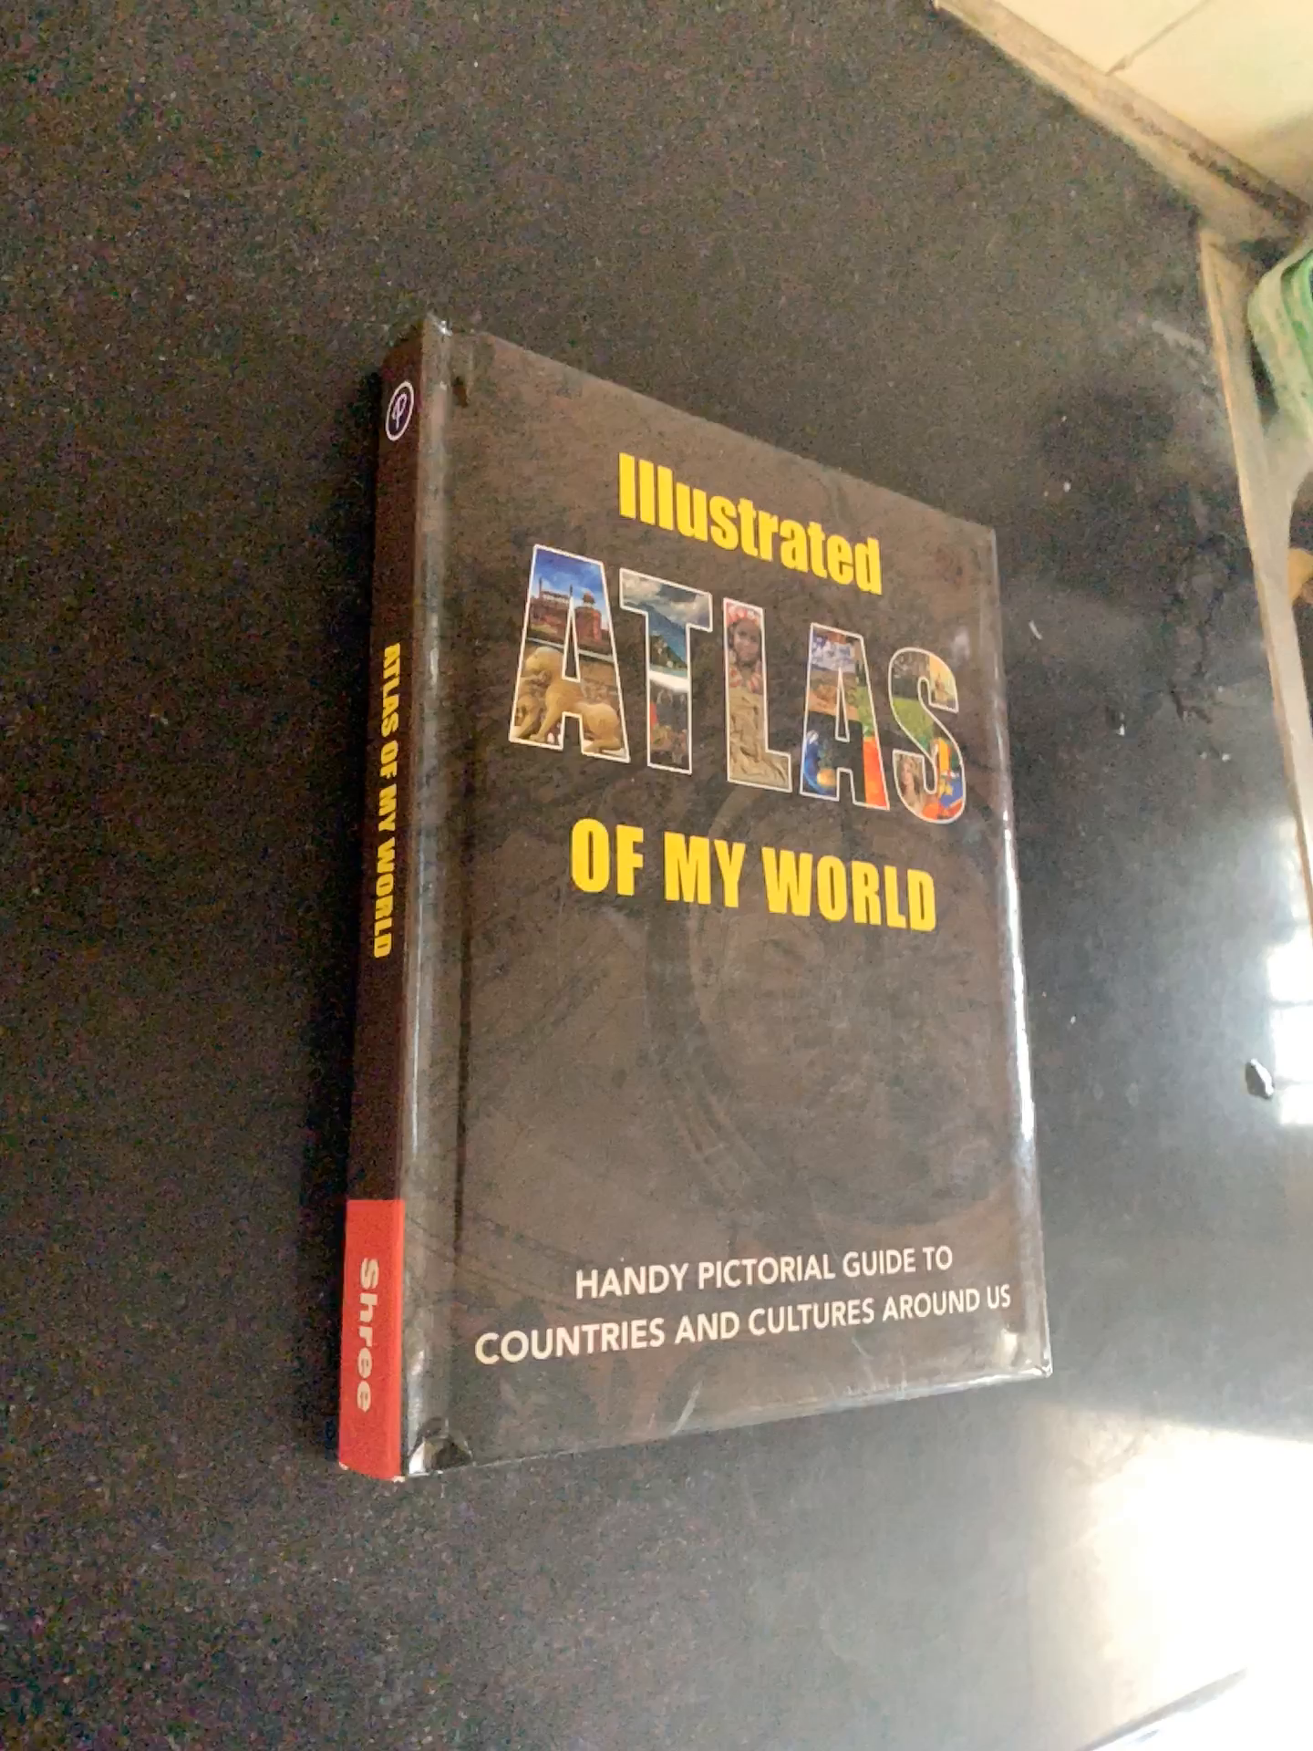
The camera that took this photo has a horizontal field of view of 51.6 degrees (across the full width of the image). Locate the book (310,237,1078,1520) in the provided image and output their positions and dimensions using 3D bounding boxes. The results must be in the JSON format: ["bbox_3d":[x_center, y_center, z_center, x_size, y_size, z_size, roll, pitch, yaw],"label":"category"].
[{"bbox_3d":[0.018,0.001,0.354,0.201,0.040,0.270,7,75,-35],"label":"book"}]
